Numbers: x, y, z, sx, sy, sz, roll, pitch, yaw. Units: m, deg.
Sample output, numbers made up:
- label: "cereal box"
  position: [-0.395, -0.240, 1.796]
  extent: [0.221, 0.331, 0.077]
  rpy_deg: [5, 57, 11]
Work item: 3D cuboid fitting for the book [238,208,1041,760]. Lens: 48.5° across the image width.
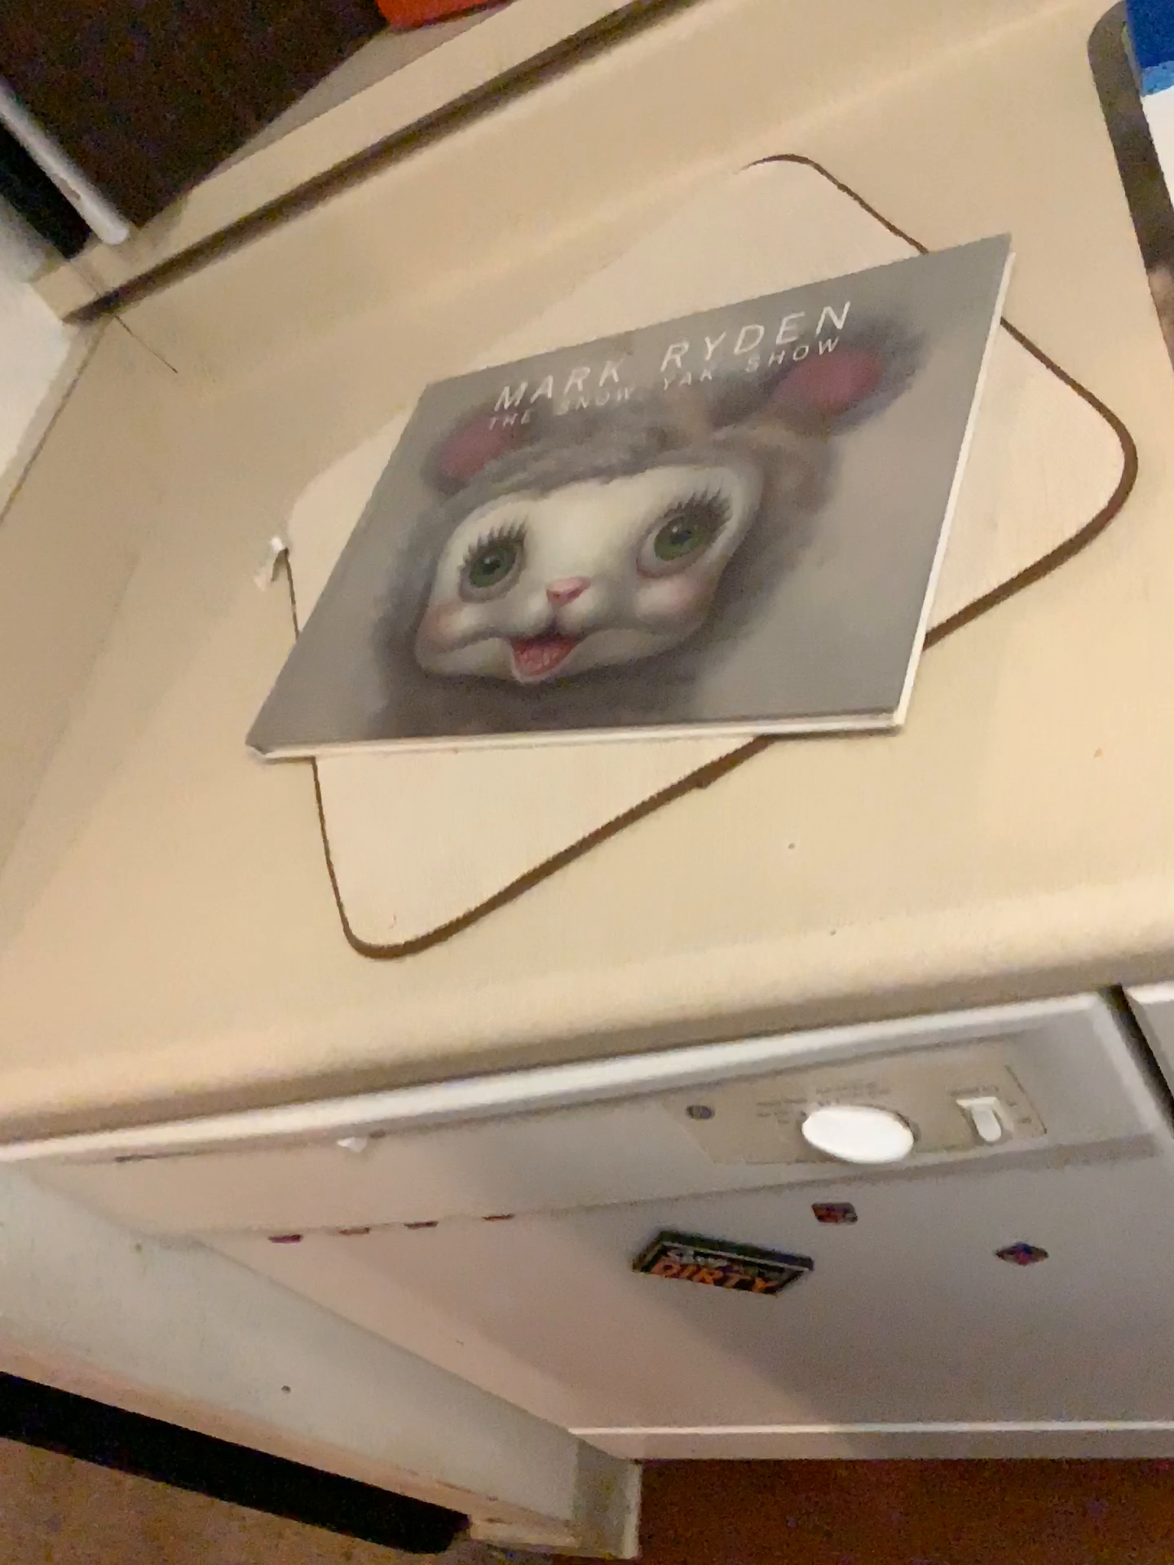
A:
- label: "book"
  position: [0.016, -0.143, 0.668]
  extent: [0.380, 0.020, 0.290]
  rpy_deg: [-2, 55, 35]
